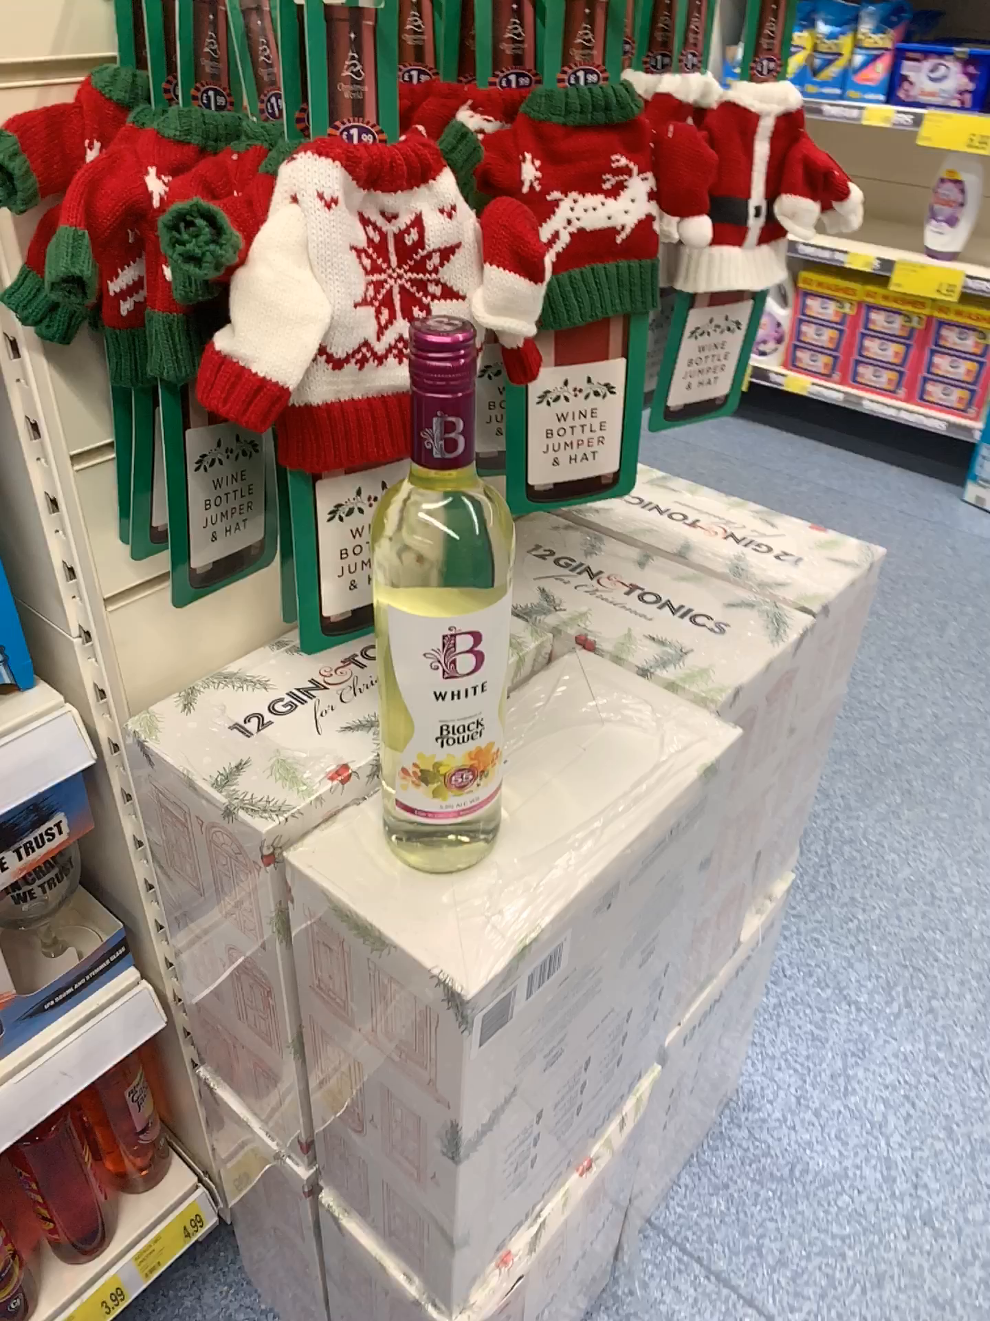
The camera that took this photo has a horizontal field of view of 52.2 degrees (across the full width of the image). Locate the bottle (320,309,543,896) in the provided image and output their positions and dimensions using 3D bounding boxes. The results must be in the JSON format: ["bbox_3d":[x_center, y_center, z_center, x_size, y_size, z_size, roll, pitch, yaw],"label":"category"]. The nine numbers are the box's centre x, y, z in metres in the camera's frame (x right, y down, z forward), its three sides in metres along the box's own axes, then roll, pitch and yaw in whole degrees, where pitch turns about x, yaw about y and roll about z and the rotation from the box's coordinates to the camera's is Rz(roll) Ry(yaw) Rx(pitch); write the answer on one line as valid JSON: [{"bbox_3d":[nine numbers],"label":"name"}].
[{"bbox_3d":[-0.032,-0.018,0.512,0.081,0.288,0.081,1,34,-1],"label":"bottle"}]
